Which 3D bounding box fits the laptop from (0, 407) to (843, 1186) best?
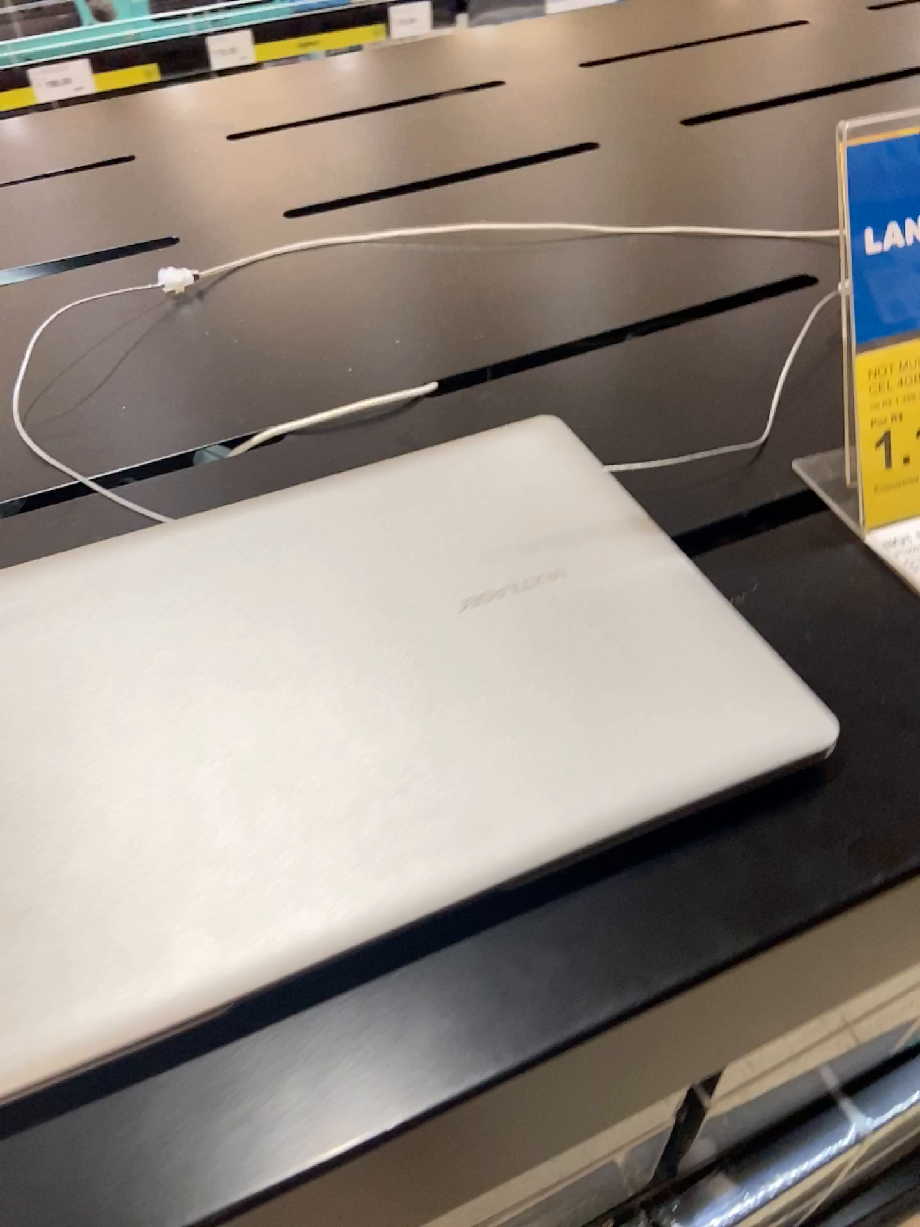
[{"bbox_3d":[-0.062,0.022,0.334,0.315,0.003,0.206,-19,47,-14],"label":"laptop"}]
